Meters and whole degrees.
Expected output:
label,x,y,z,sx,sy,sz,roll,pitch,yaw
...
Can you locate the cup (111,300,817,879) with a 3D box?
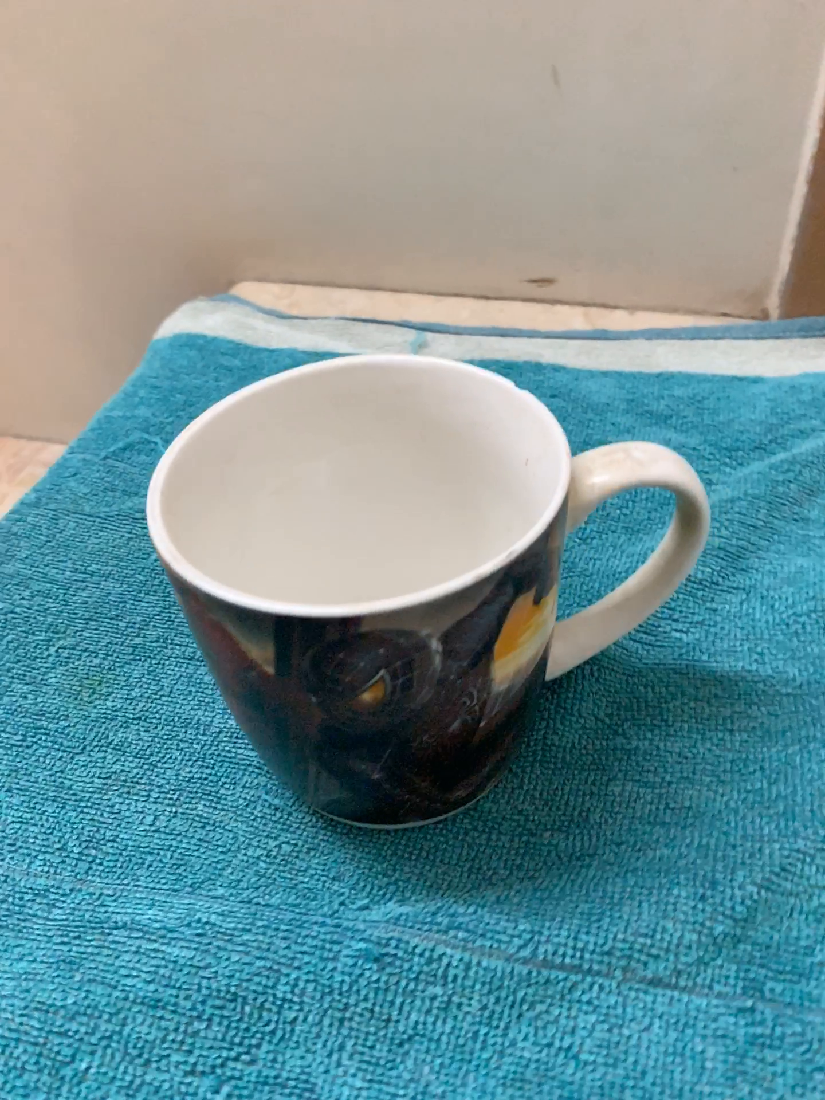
label,x,y,z,sx,sy,sz,roll,pitch,yaw
cup,0.008,0.009,0.204,0.120,0.089,0.081,-9,43,-3
